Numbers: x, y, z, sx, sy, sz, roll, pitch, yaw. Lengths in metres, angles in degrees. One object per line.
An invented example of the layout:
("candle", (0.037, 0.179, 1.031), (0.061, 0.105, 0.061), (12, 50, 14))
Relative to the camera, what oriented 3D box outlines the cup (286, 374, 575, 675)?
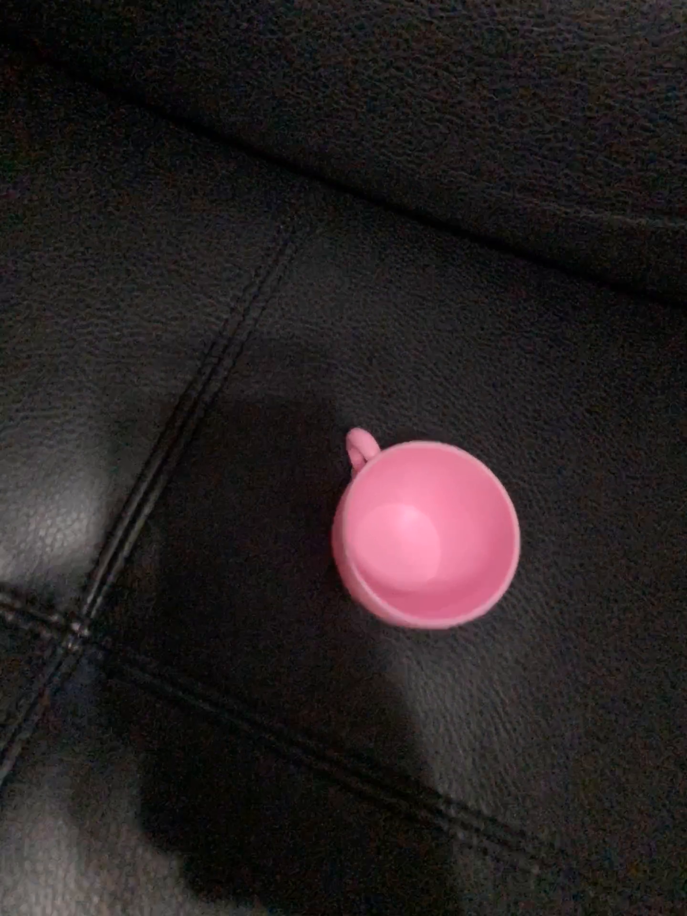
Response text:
("cup", (0.026, 0.024, 0.245), (0.061, 0.045, 0.078), (-25, 77, -15))
